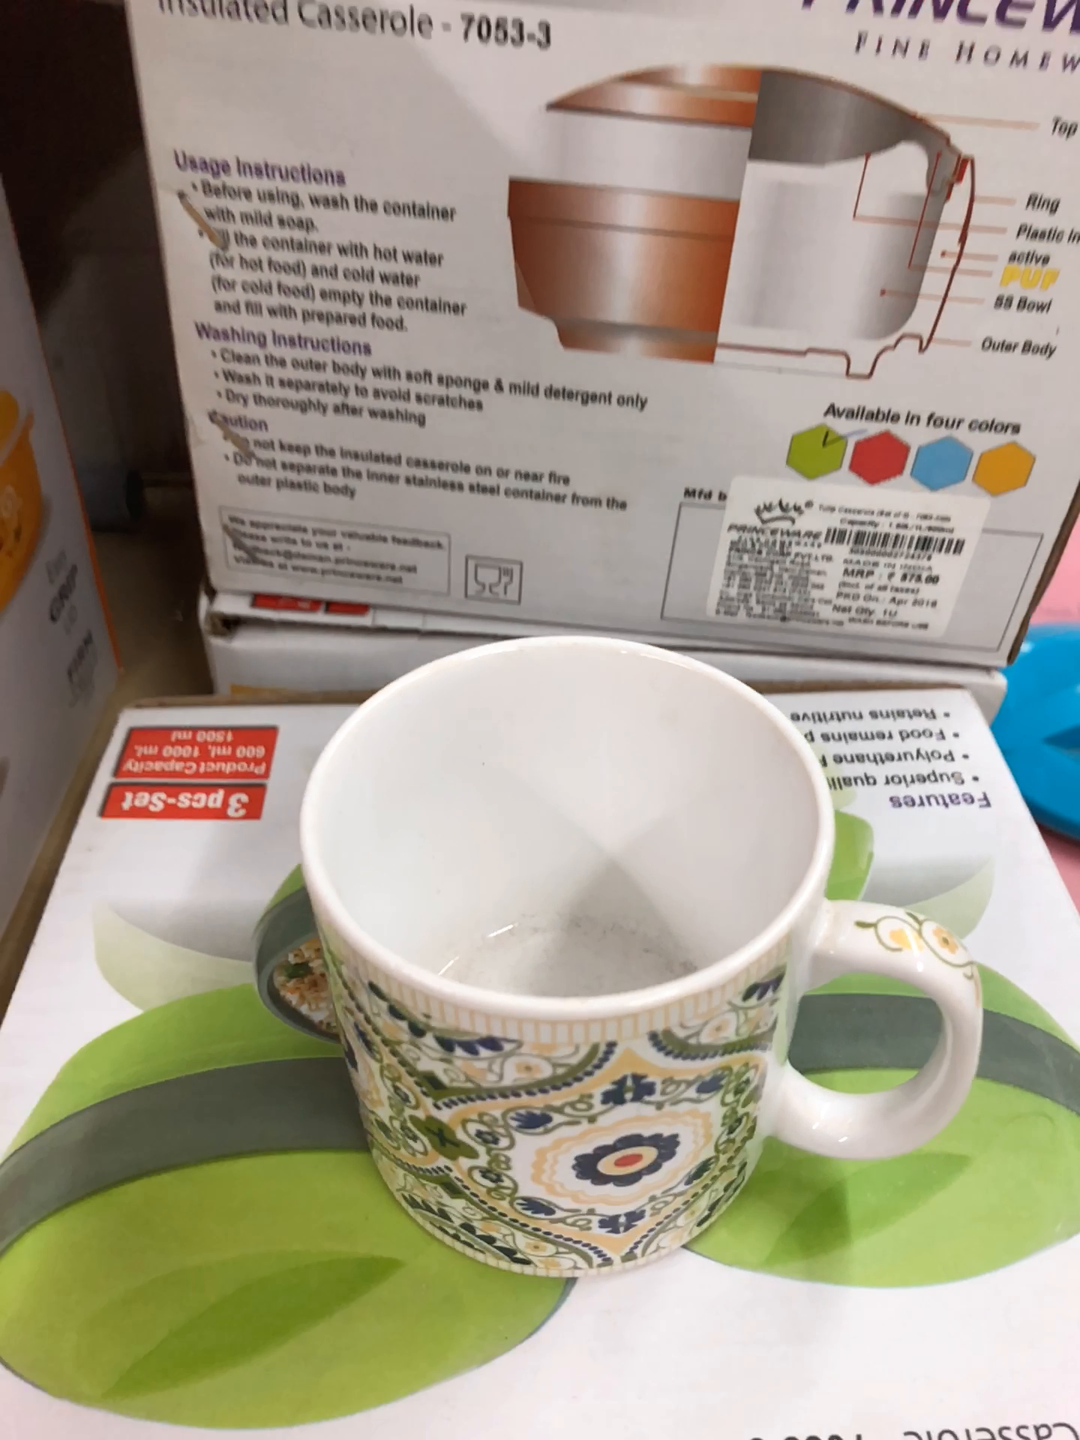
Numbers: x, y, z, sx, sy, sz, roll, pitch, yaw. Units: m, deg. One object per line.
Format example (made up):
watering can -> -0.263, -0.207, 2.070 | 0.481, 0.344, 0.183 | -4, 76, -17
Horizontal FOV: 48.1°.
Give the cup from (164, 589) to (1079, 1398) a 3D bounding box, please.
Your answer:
cup -> 0.016, 0.039, 0.191 | 0.110, 0.080, 0.070 | 9, 39, 12
